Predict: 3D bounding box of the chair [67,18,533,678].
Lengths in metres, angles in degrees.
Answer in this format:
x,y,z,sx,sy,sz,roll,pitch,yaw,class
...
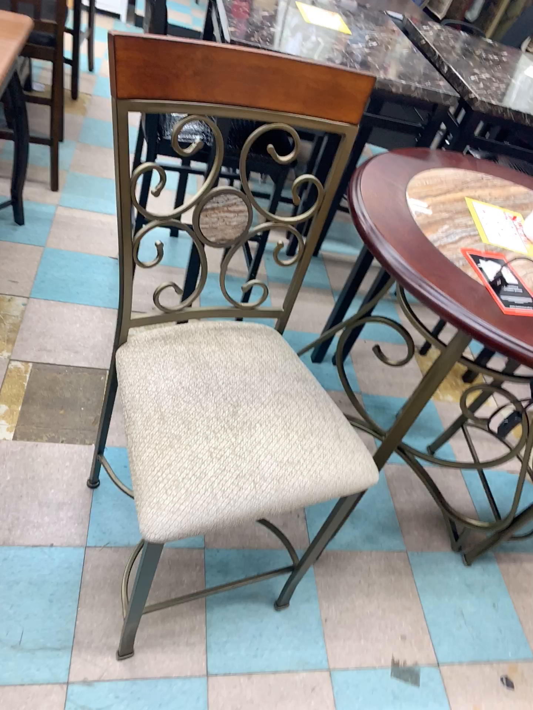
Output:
x,y,z,sx,sy,sz,roll,pitch,yaw,class
-0.074,0.075,1.067,0.511,1.052,0.610,-6,50,-26,chair
